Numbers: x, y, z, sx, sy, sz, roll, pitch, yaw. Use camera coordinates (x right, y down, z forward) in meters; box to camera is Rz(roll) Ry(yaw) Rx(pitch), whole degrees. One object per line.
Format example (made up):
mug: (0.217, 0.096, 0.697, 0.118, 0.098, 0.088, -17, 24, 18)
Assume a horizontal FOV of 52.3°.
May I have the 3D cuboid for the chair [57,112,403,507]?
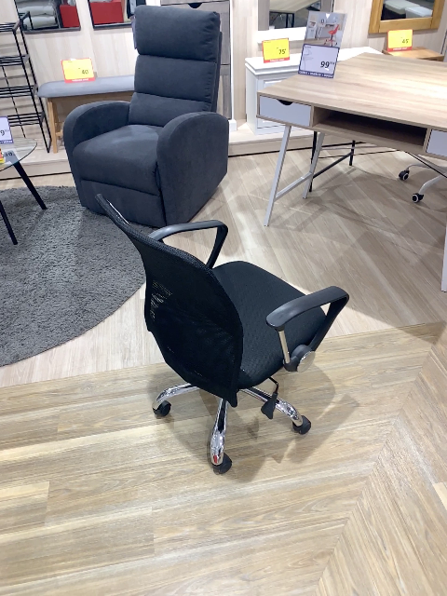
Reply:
chair: (0.014, 0.007, 1.424, 0.602, 0.865, 0.643, -30, 47, -30)
